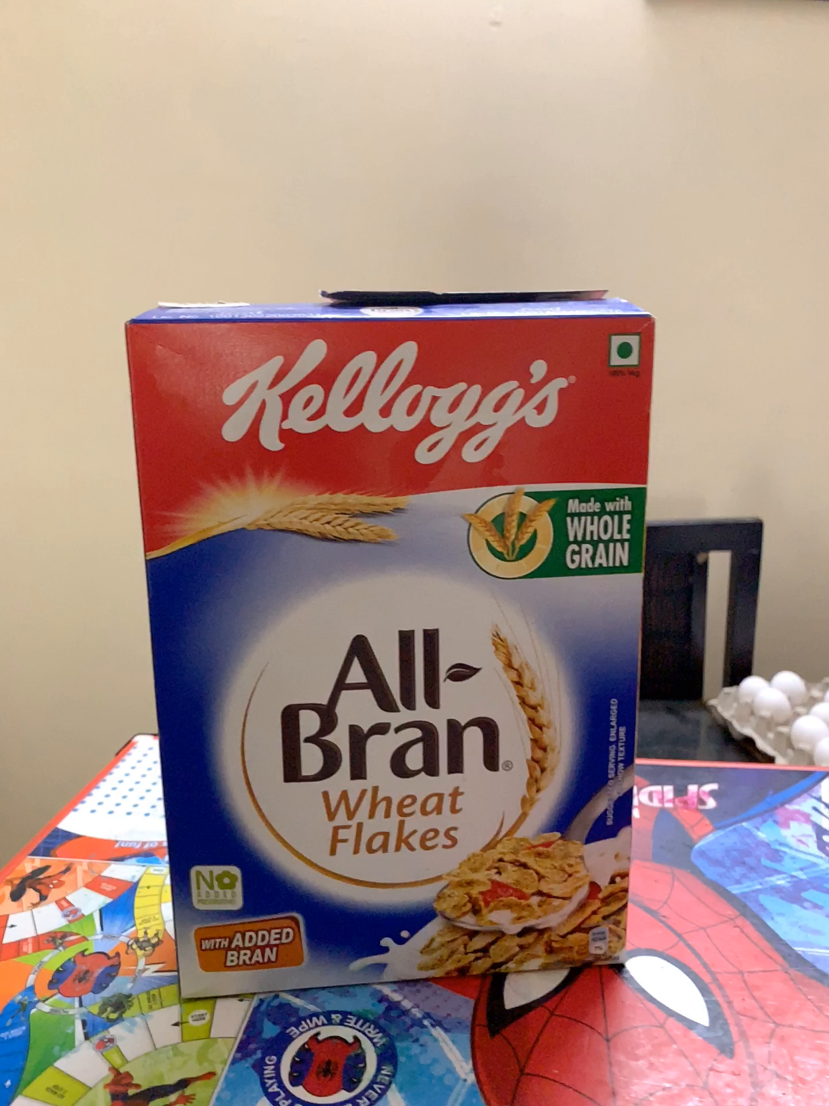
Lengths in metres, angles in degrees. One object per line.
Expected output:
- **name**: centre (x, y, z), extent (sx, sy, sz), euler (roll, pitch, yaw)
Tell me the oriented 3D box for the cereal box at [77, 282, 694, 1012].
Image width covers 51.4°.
- **cereal box**: centre (-0.007, 0.033, 0.320), extent (0.190, 0.249, 0.060), euler (-2, 13, -5)
